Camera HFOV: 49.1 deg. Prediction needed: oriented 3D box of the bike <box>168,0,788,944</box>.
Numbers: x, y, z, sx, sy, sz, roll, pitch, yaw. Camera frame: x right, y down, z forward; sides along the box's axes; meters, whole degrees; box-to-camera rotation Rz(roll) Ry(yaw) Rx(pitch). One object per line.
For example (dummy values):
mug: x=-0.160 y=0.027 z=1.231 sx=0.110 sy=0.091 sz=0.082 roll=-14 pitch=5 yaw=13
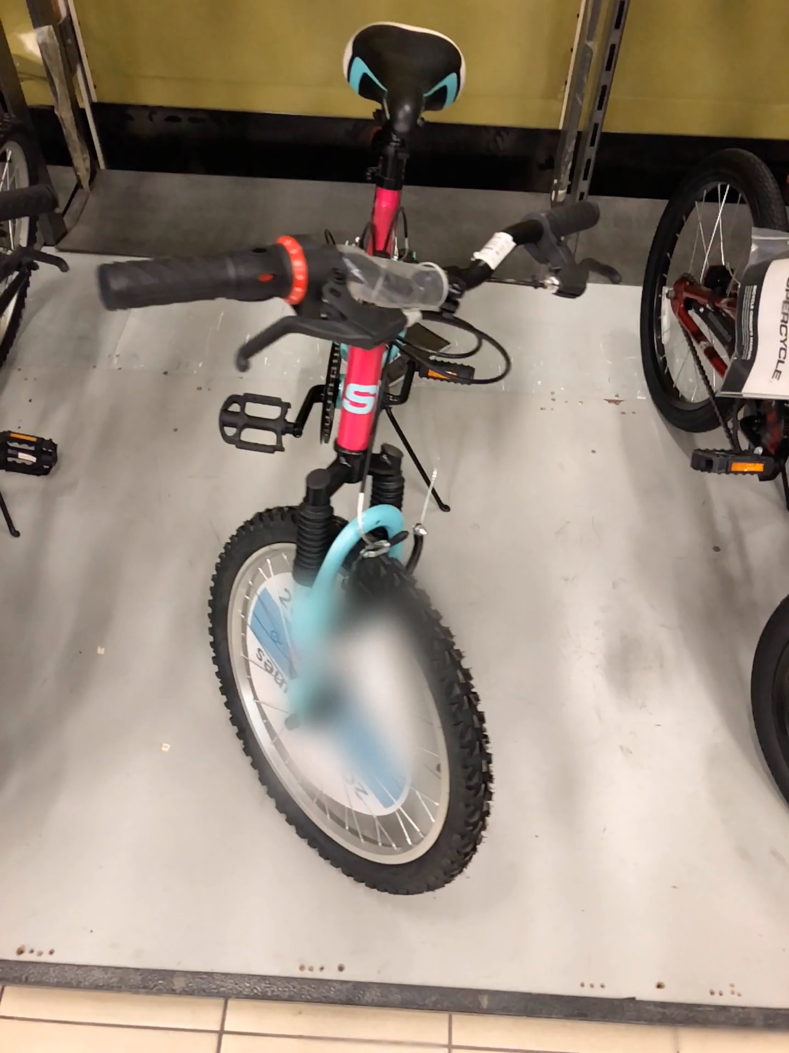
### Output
bike: x=0.089 y=-0.206 z=1.172 sx=0.562 sy=0.764 sz=1.220 roll=-2 pitch=55 yaw=-3
